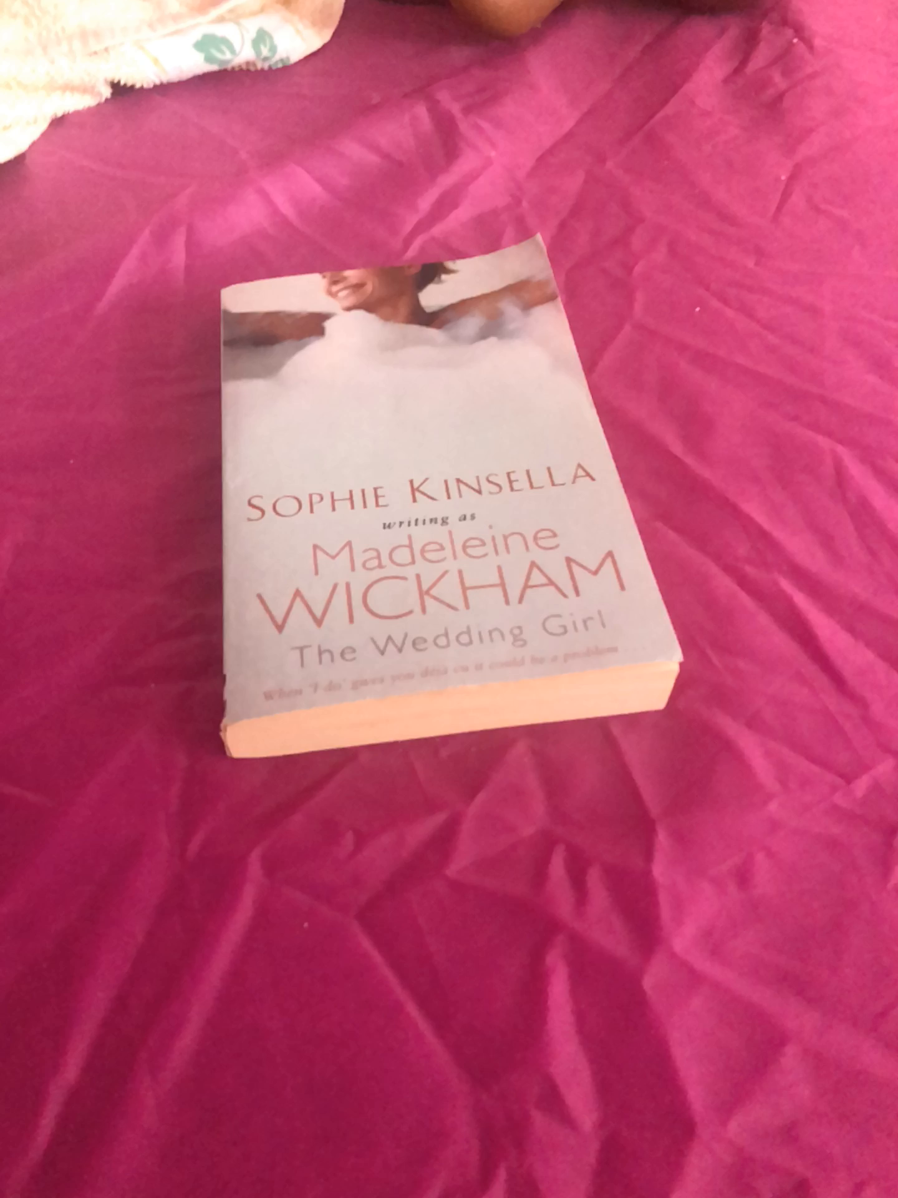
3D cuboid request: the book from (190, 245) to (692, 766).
[{"bbox_3d":[-0.014,-0.047,0.336,0.135,0.027,0.202,-6,52,-5],"label":"book"}]
